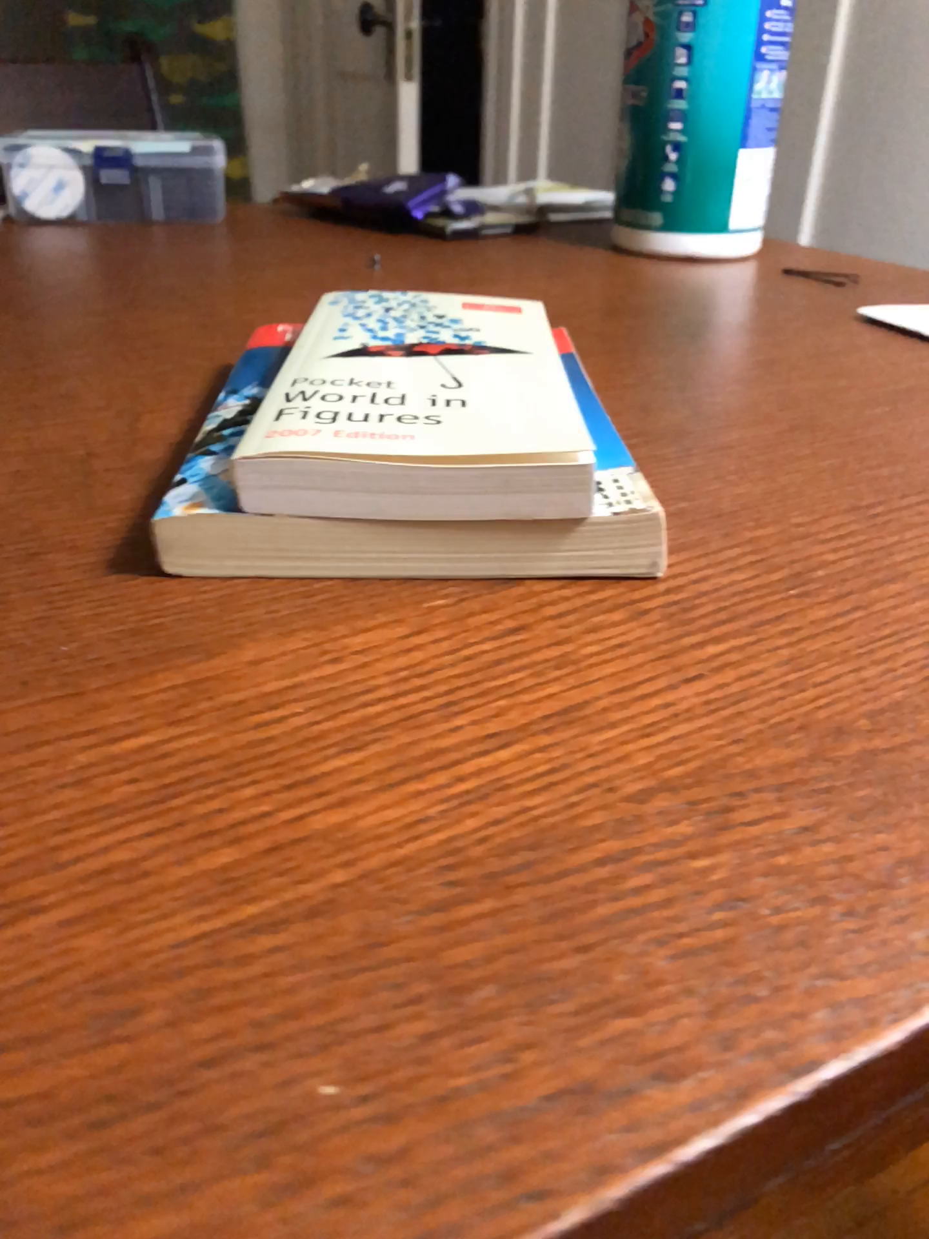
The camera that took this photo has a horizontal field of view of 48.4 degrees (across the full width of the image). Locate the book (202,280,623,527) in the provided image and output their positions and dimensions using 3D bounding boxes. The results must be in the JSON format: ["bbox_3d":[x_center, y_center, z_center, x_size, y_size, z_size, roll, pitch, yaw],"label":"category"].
[{"bbox_3d":[-0.012,-0.081,0.339,0.100,0.020,0.201,1,28,-1],"label":"book"}]

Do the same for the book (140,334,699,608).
[{"bbox_3d":[-0.015,-0.062,0.356,0.140,0.020,0.211,0,28,-3],"label":"book"}]
